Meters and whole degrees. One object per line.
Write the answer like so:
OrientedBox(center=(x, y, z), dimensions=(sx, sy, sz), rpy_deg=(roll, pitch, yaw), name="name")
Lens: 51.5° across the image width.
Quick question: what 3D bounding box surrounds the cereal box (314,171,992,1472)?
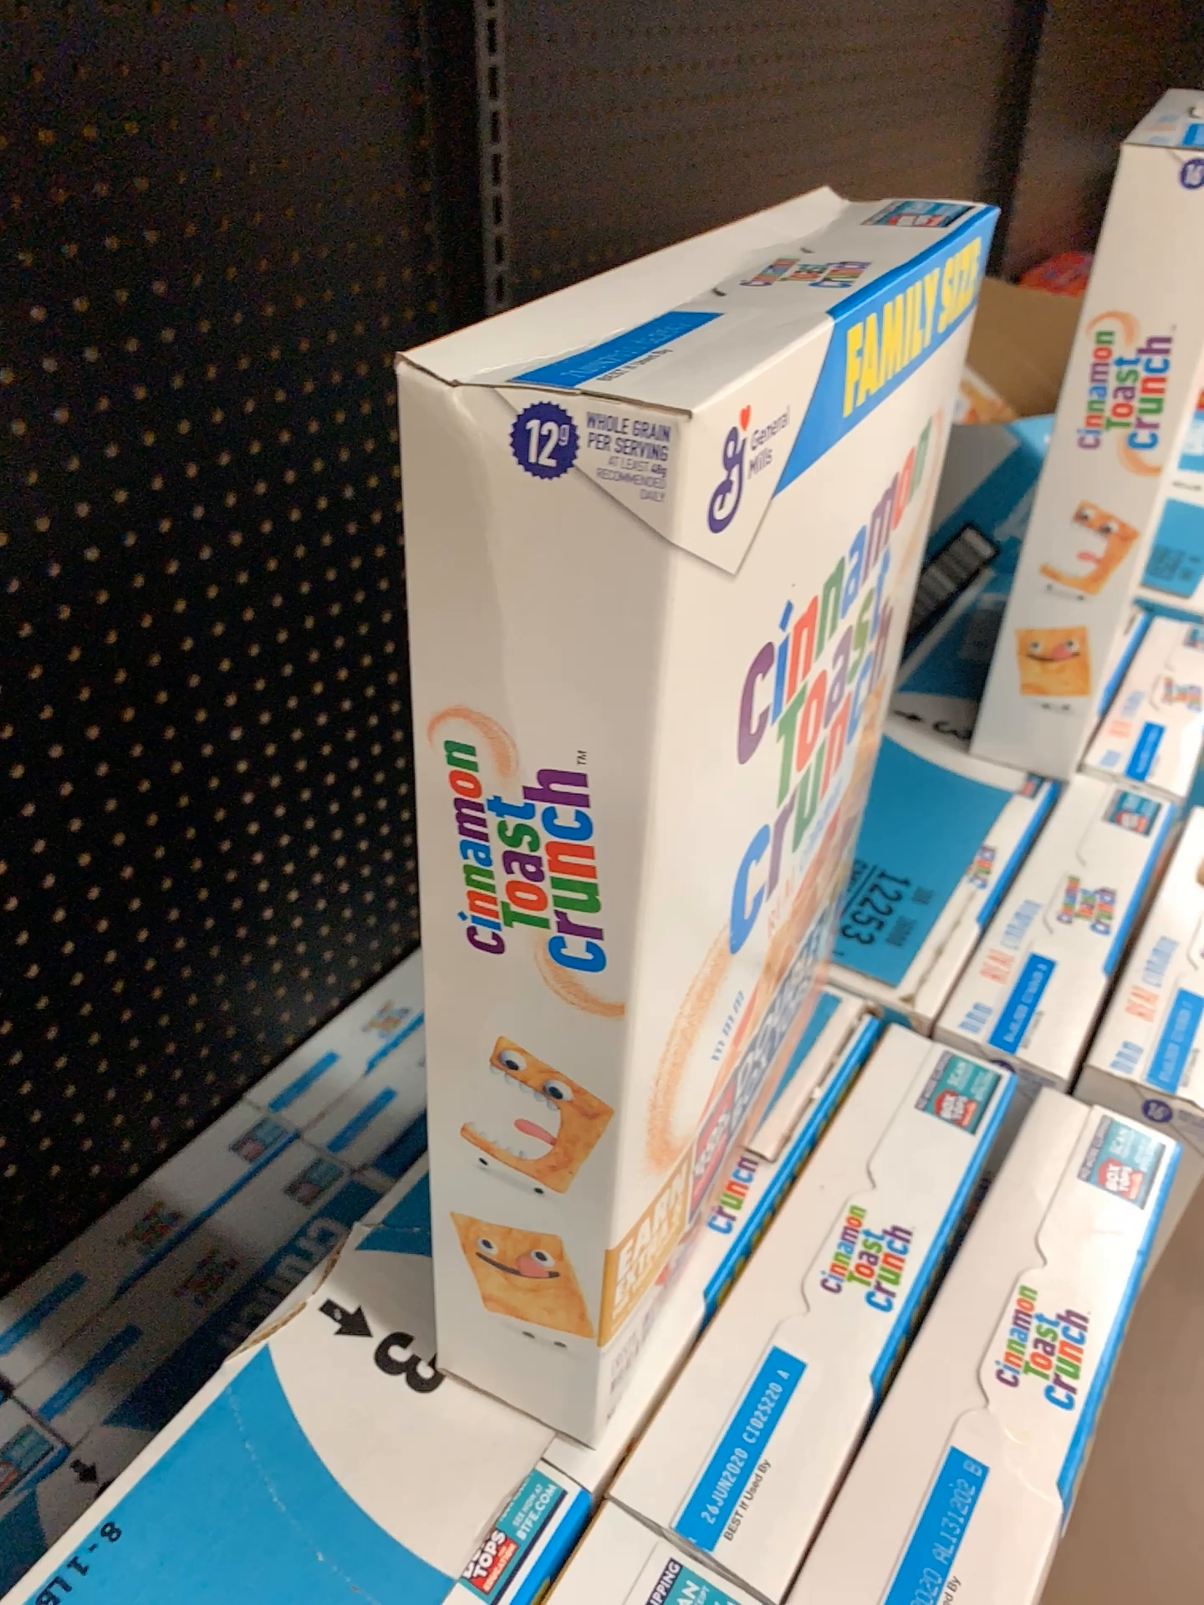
OrientedBox(center=(0.028, -0.004, 0.368), dimensions=(0.060, 0.298, 0.241), rpy_deg=(17, 37, 21), name="cereal box")
